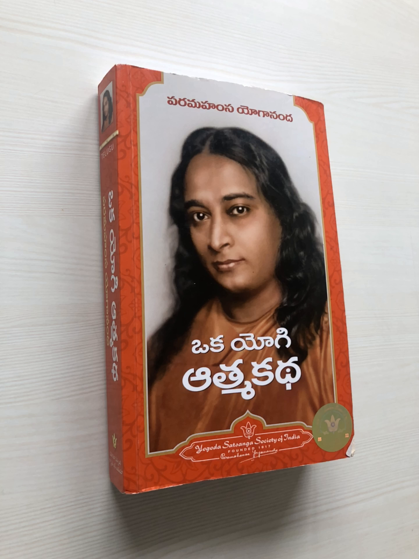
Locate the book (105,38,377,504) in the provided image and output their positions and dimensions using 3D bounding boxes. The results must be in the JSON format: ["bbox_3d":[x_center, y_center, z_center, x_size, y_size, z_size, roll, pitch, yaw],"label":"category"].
[{"bbox_3d":[0.019,-0.008,0.280,0.150,0.040,0.233,0,84,-24],"label":"book"}]
